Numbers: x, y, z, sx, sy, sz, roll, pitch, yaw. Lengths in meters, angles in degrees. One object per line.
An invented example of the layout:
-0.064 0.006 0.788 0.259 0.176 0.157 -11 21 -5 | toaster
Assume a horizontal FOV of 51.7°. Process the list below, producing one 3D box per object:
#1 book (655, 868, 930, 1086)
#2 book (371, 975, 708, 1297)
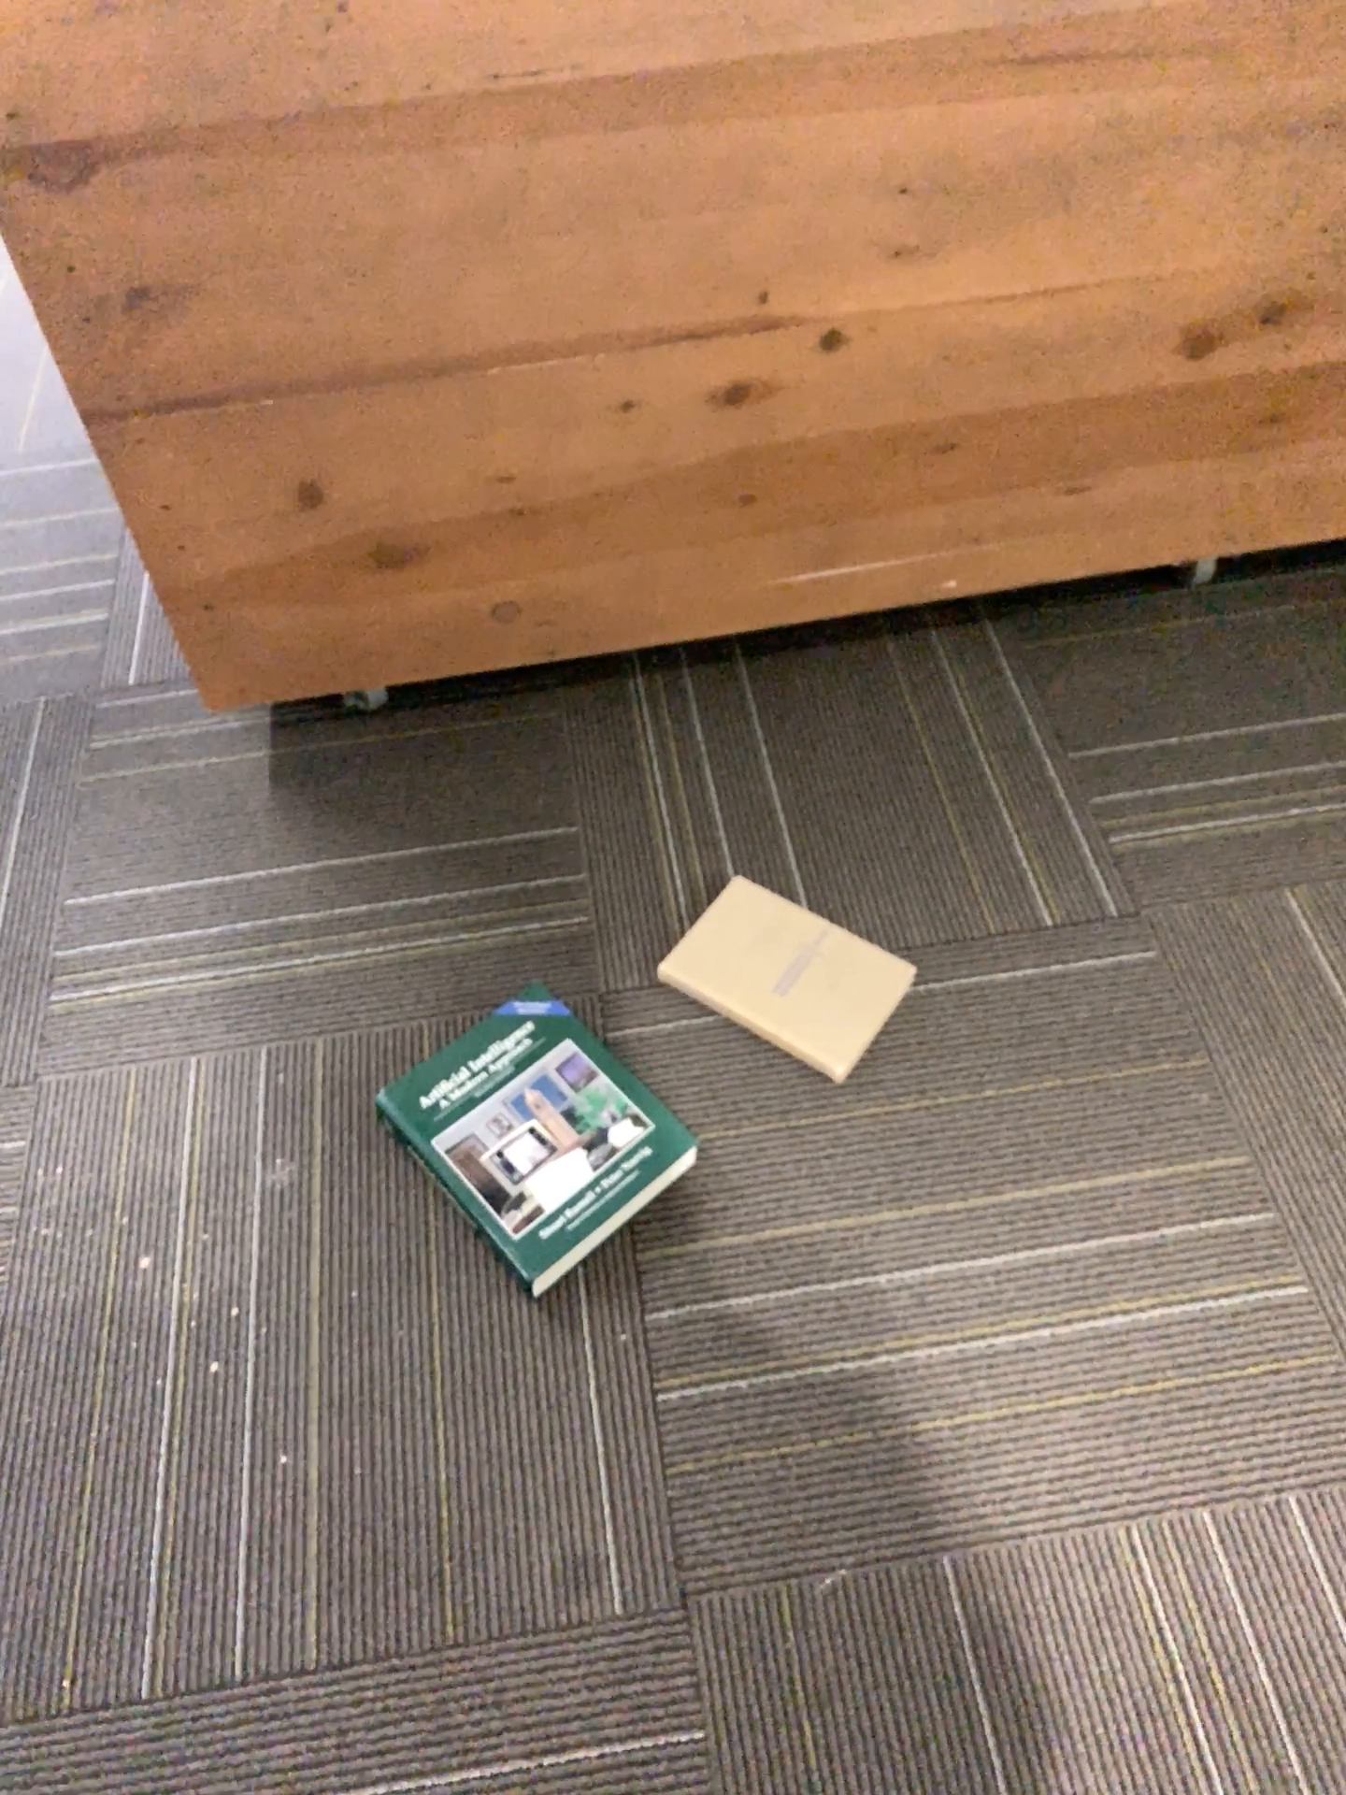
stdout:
0.125 0.078 1.470 0.241 0.020 0.160 28 59 24 | book
-0.131 0.221 1.351 0.210 0.030 0.261 -36 58 -22 | book
